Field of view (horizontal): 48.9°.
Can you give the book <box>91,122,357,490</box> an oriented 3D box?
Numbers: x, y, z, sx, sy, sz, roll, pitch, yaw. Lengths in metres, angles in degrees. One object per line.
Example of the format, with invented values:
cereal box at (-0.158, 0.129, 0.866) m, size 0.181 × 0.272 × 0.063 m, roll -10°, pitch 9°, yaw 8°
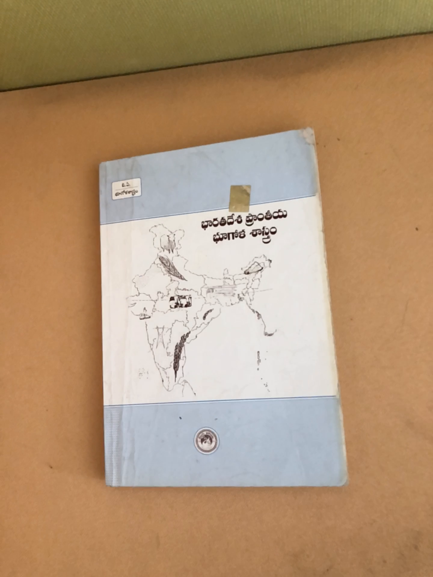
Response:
book at (-0.003, 0.014, 0.355) m, size 0.180 × 0.030 × 0.250 m, roll -5°, pitch 80°, yaw 13°
